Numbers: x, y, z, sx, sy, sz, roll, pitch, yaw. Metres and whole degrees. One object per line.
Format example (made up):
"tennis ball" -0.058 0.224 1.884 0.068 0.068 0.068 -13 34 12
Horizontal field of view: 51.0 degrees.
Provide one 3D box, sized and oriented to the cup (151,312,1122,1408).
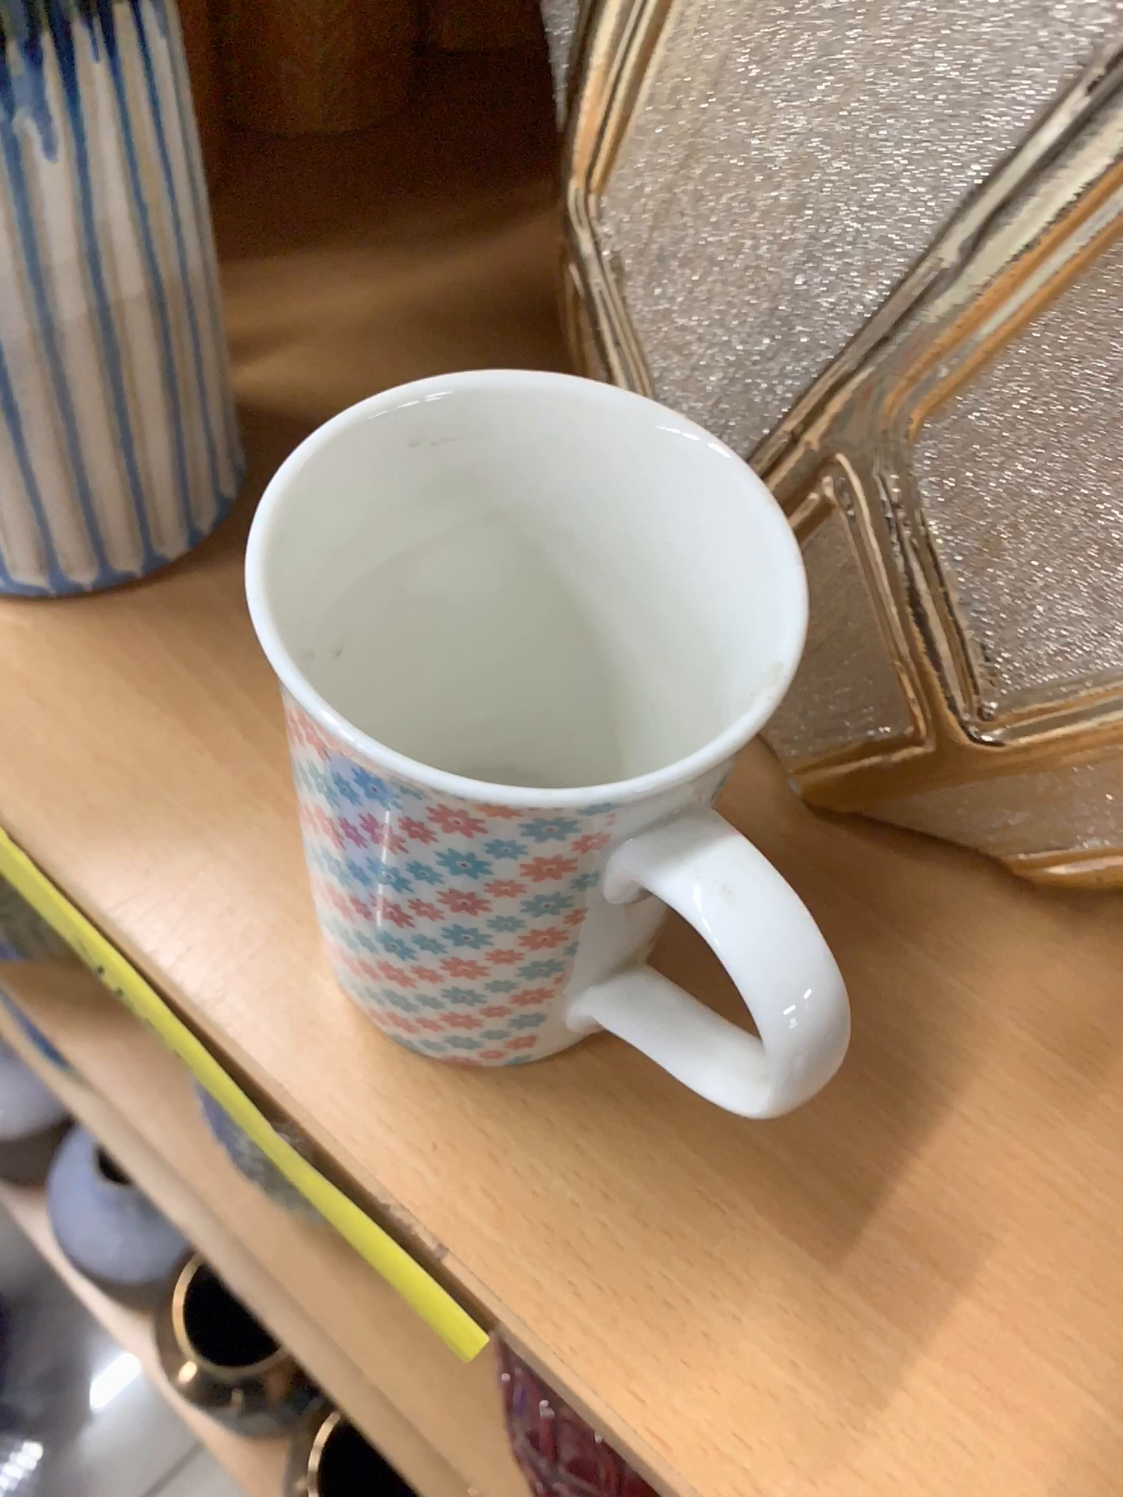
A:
"cup" 0.005 0.020 0.194 0.080 0.110 0.120 -27 63 -25
